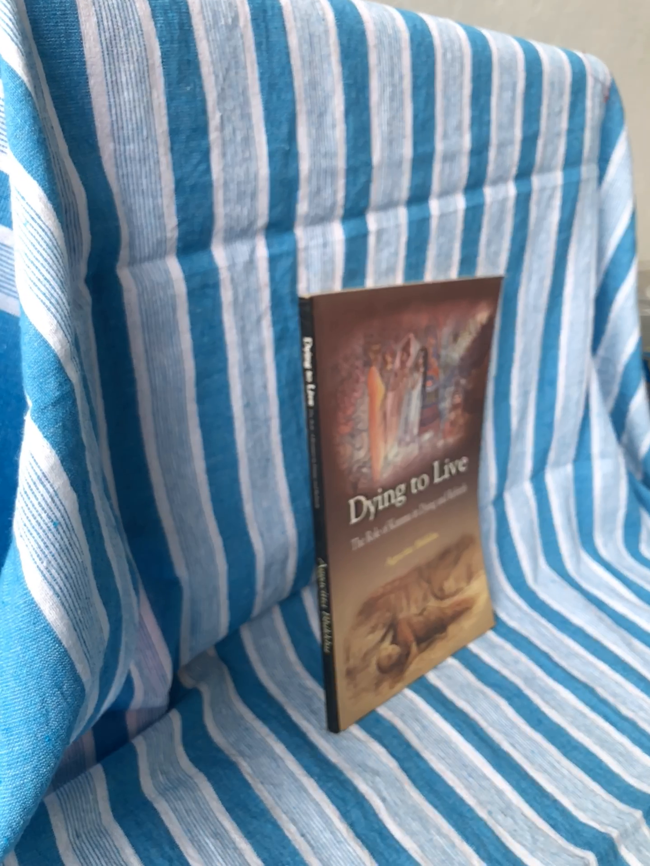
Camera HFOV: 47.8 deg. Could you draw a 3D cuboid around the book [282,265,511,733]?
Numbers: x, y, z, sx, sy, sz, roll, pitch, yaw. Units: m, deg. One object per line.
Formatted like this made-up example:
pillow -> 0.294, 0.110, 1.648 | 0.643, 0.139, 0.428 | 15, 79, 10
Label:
book -> 0.048, 0.021, 0.382 | 0.020, 0.210, 0.151 | 4, 13, 42
